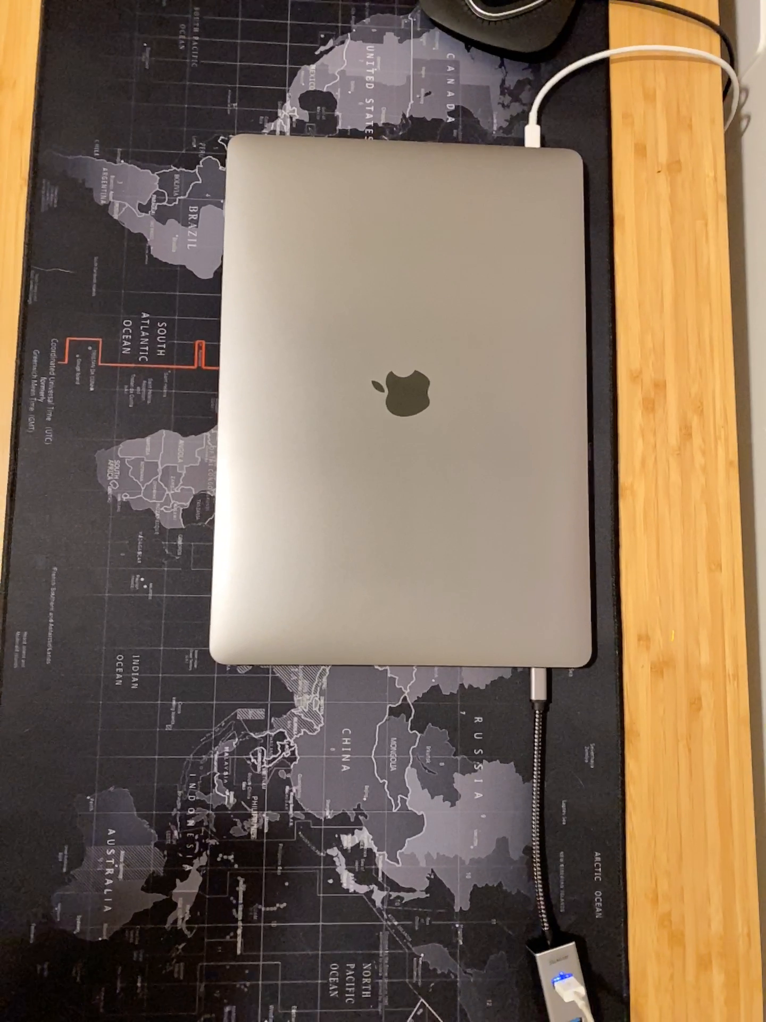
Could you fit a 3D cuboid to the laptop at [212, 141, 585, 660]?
[{"bbox_3d":[0.016,-0.076,0.497,0.226,0.002,0.336,2,82,-2],"label":"laptop"}]
